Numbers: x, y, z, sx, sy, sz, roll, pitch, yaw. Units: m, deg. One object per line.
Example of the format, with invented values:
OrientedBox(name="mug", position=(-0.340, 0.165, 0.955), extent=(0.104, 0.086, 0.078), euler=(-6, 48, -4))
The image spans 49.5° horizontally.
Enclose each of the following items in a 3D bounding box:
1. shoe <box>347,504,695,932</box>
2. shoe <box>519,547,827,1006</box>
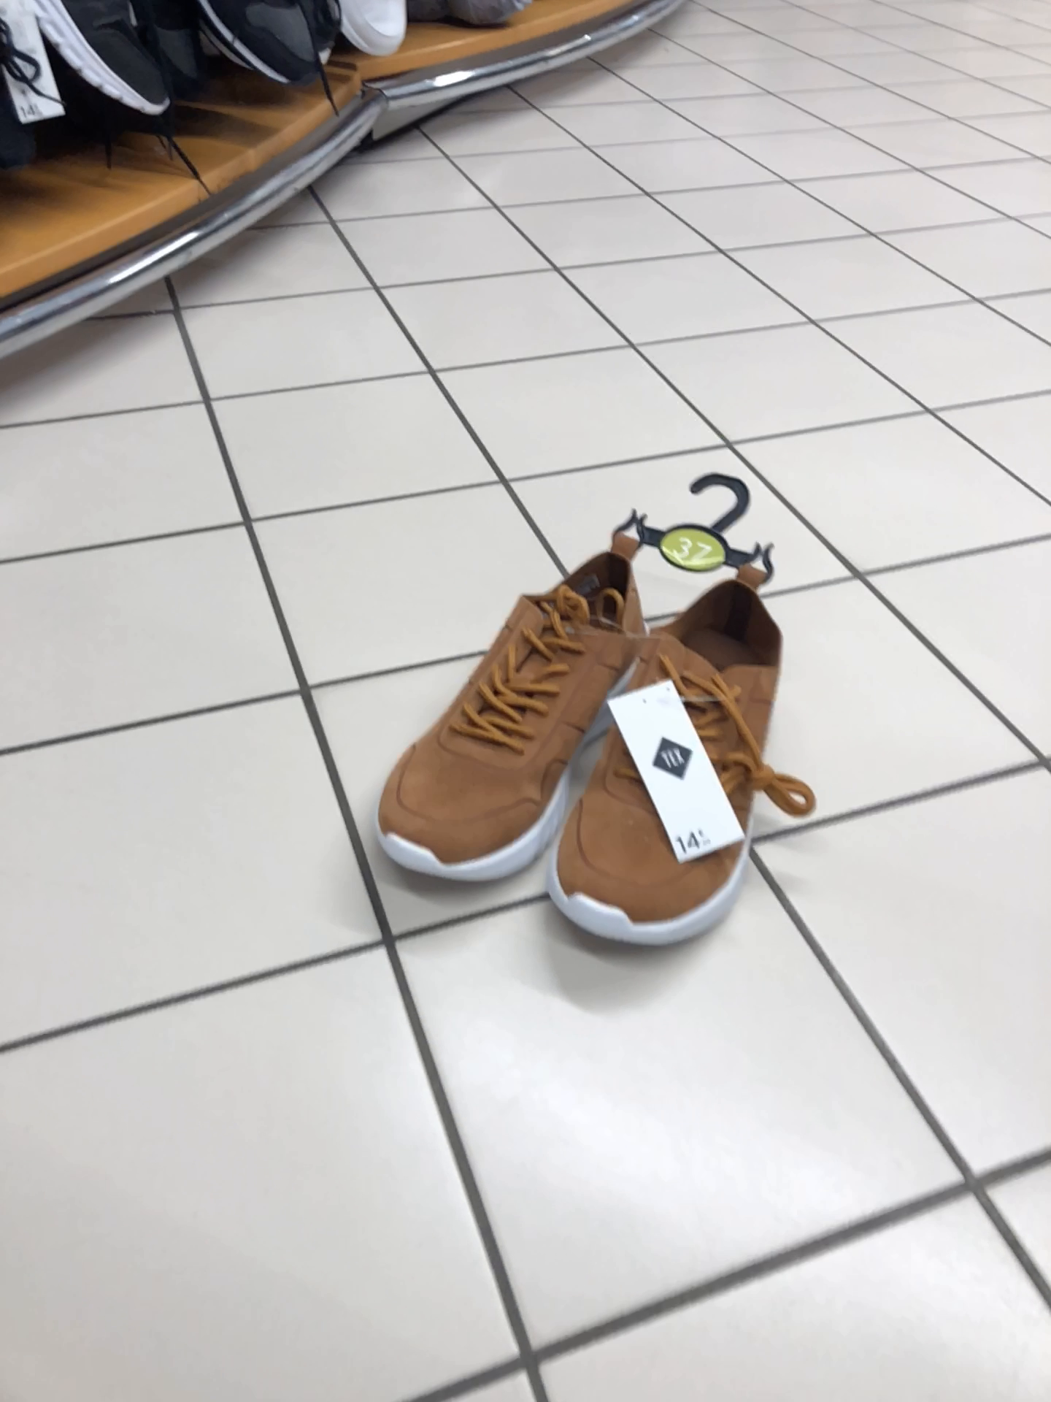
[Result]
OrientedBox(name="shoe", position=(0.005, -0.002, 0.619), extent=(0.090, 0.099, 0.221), euler=(19, 43, 18))
OrientedBox(name="shoe", position=(0.084, 0.028, 0.610), extent=(0.090, 0.099, 0.232), euler=(16, 43, 16))
